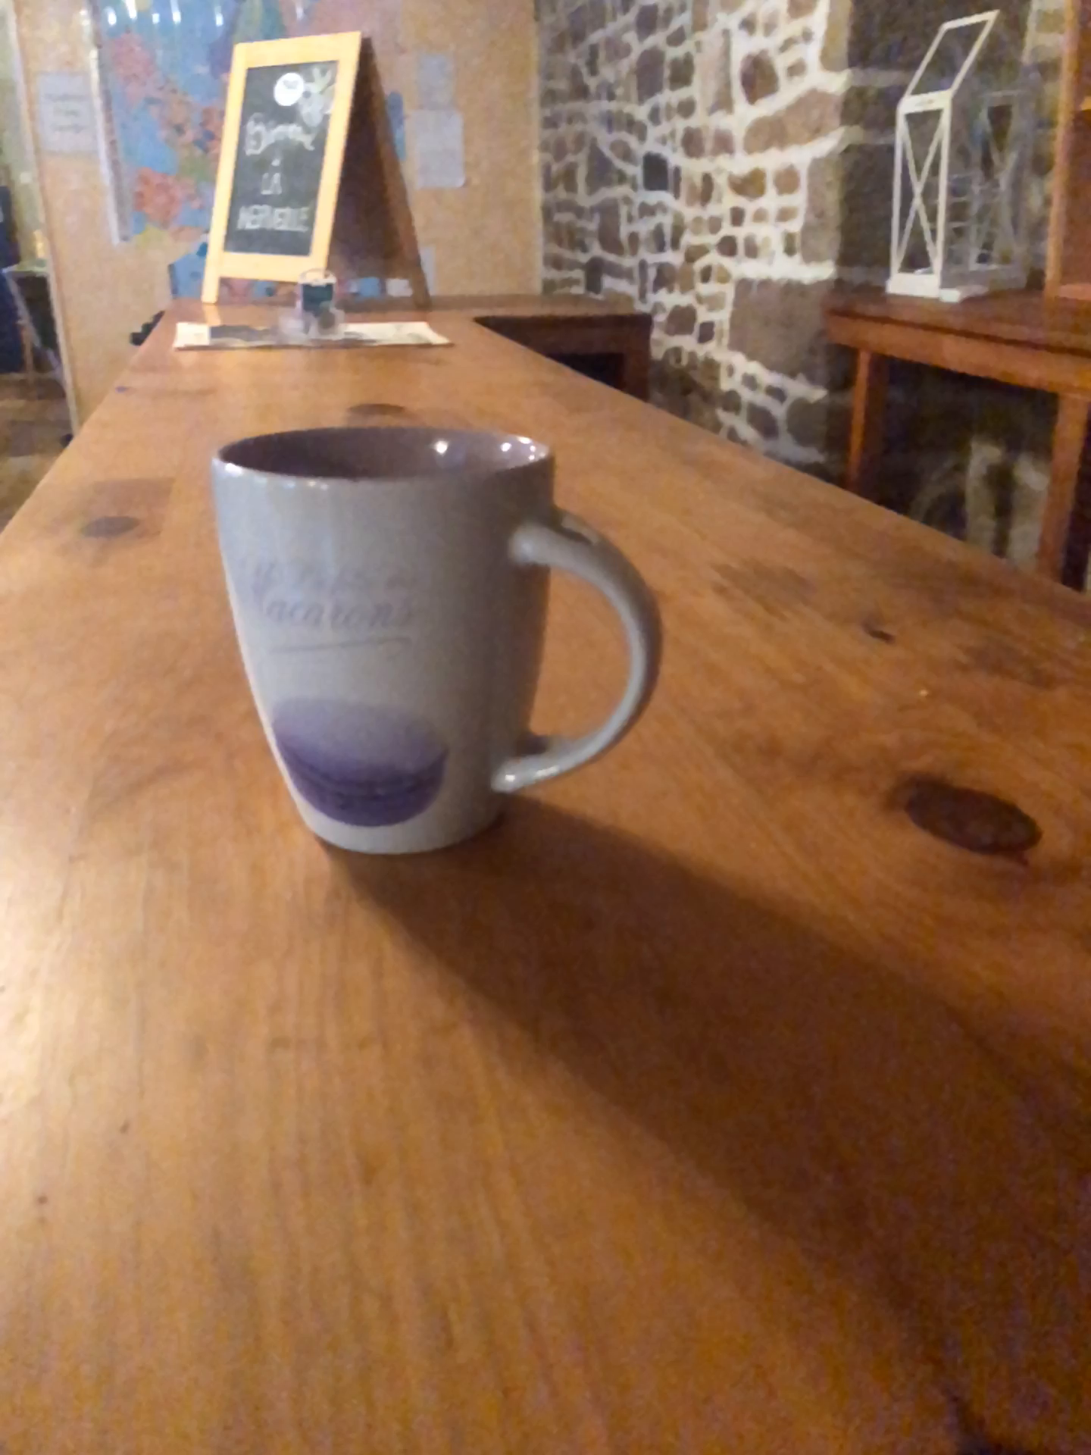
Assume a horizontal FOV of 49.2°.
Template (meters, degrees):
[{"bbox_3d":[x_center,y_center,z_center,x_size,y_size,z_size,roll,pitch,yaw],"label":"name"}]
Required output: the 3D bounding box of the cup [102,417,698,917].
[{"bbox_3d":[-0.029,-0.025,0.321,0.120,0.095,0.101,6,24,17],"label":"cup"}]
